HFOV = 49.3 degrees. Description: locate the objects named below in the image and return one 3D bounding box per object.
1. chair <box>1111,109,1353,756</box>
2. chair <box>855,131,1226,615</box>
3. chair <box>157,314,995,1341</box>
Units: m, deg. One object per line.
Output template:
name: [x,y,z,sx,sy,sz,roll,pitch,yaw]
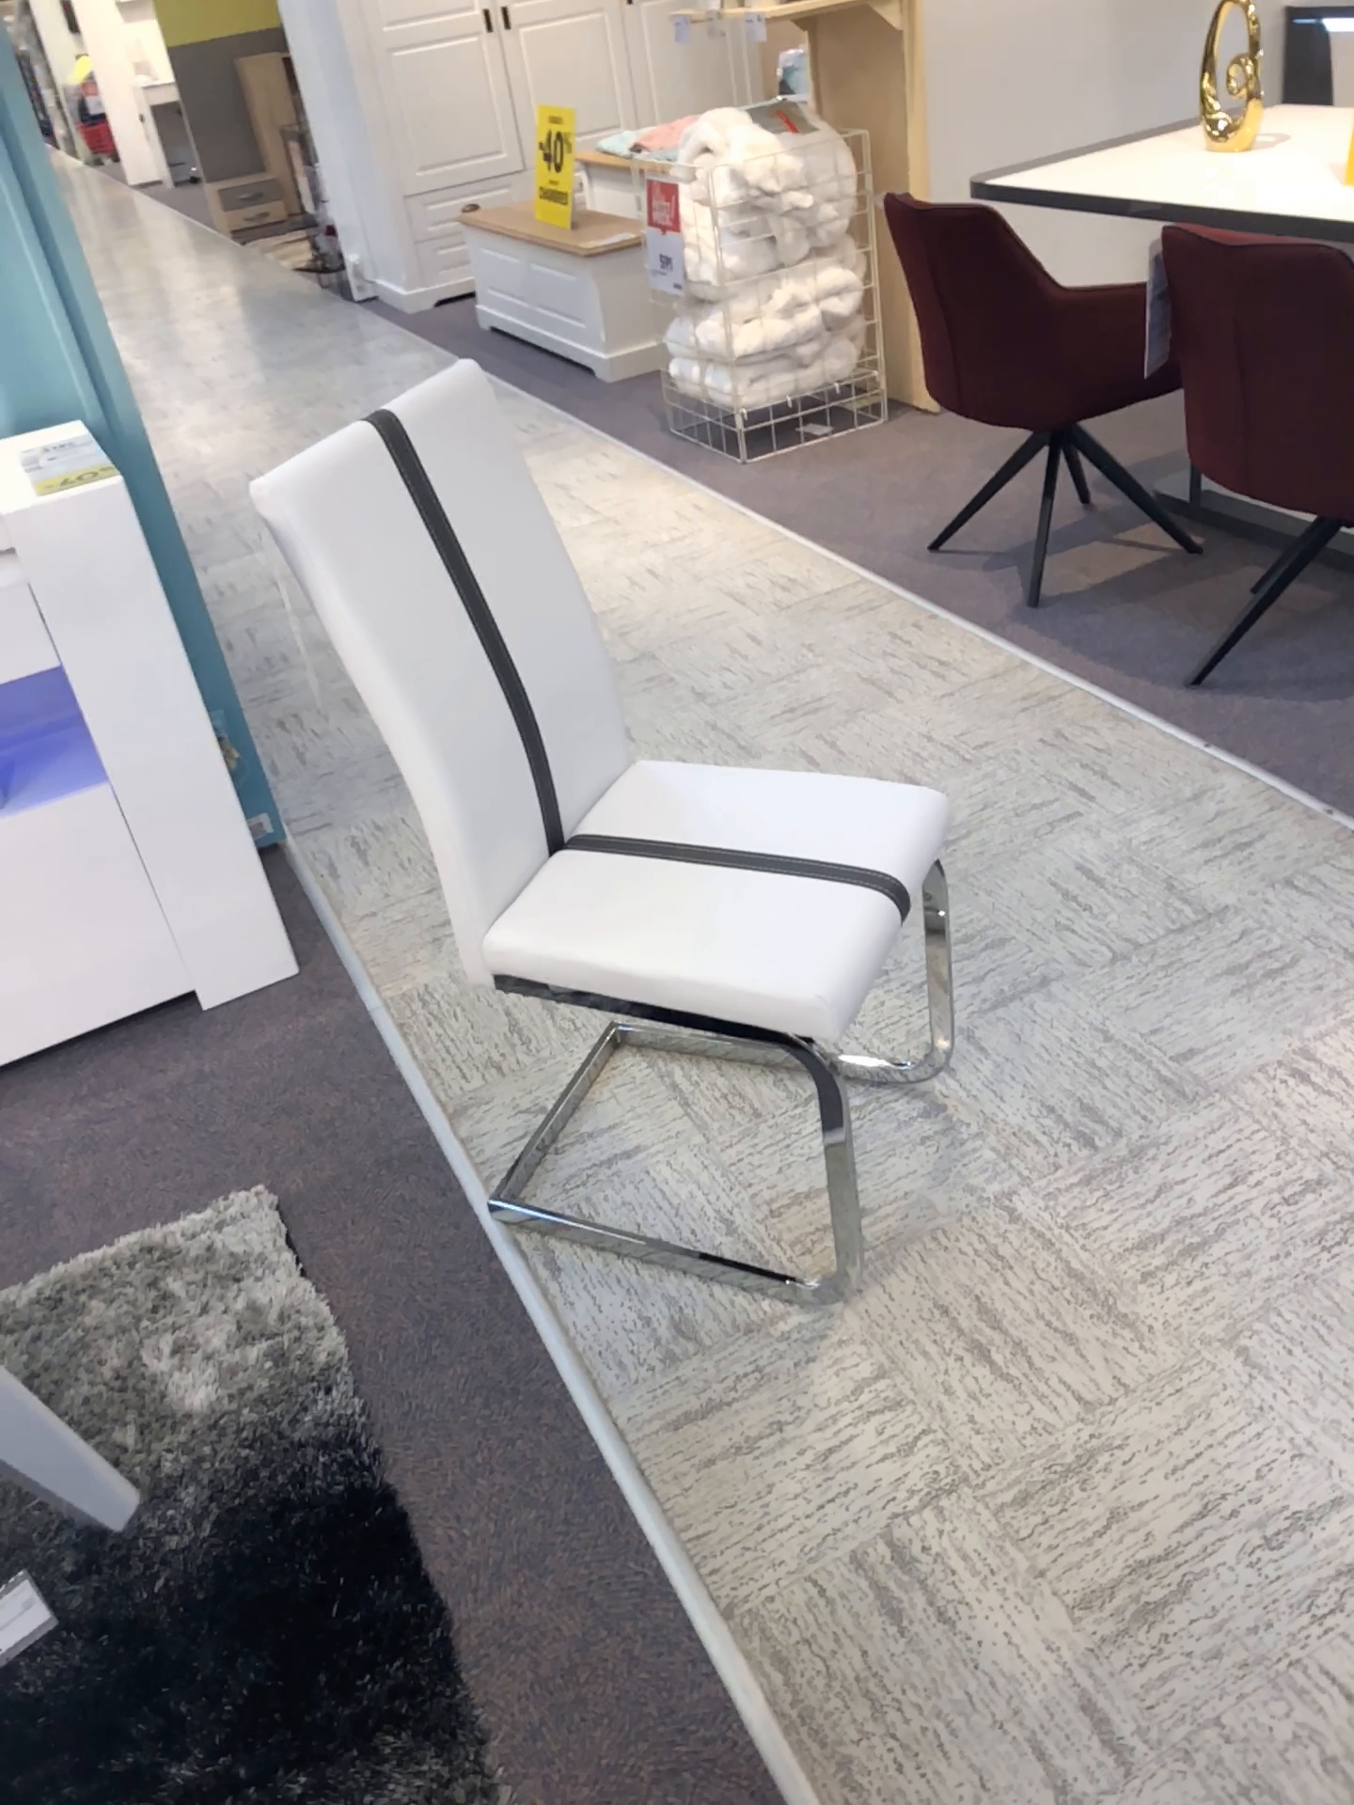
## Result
chair: [1.279,-0.882,2.686,0.692,0.878,0.638,-30,38,-27]
chair: [0.837,-1.242,3.428,0.571,0.878,0.539,-23,35,-18]
chair: [-0.024,-0.088,1.560,0.569,0.878,0.490,8,37,26]
